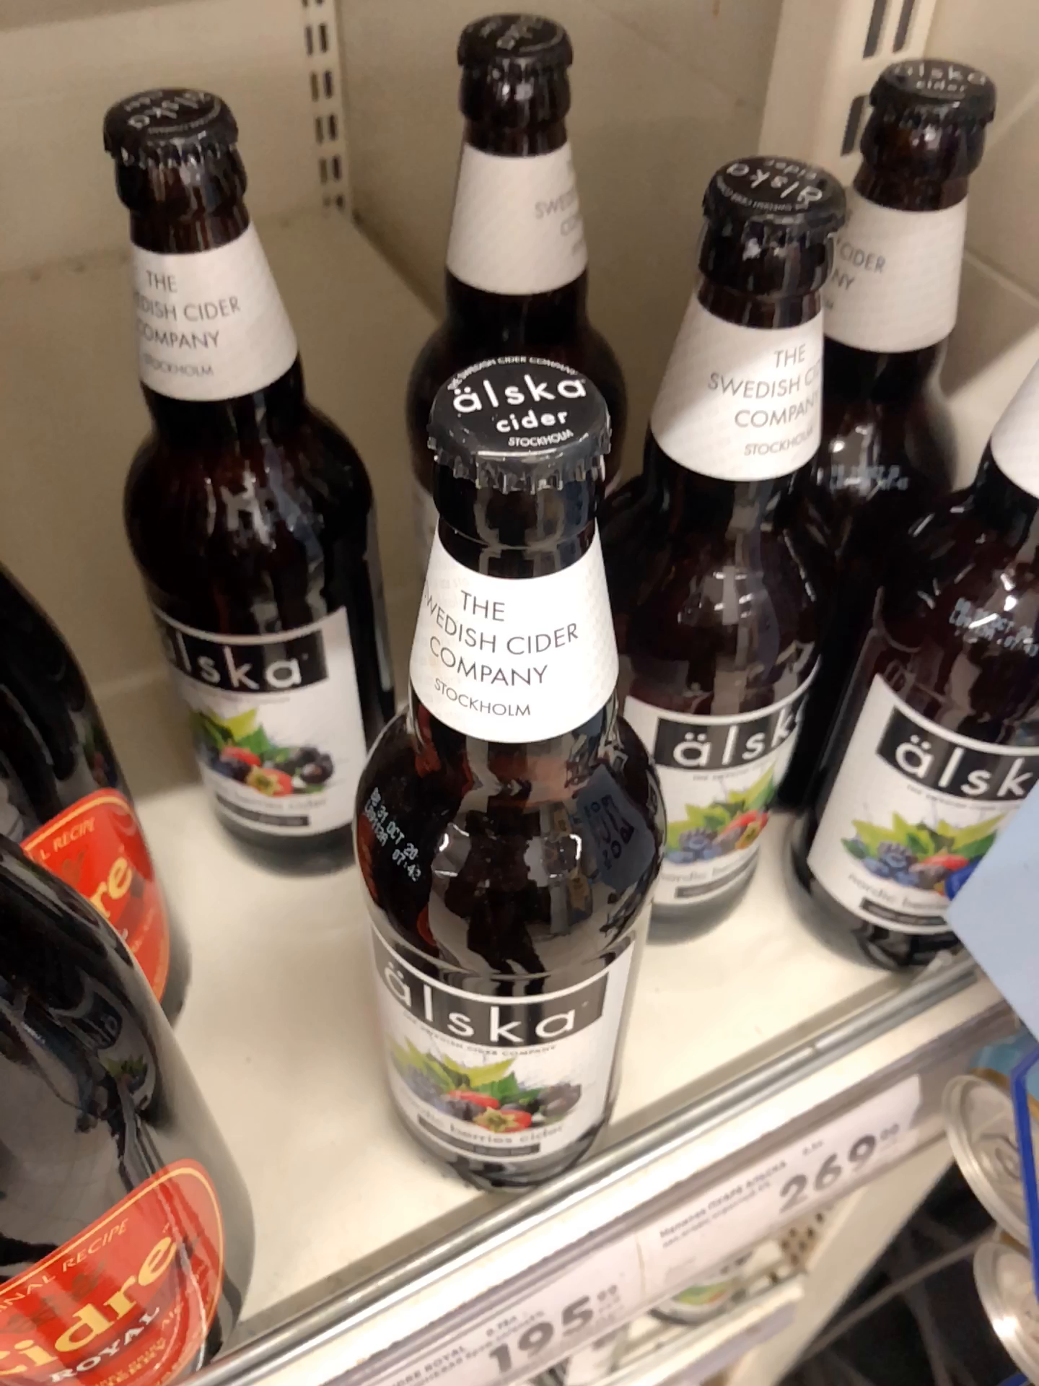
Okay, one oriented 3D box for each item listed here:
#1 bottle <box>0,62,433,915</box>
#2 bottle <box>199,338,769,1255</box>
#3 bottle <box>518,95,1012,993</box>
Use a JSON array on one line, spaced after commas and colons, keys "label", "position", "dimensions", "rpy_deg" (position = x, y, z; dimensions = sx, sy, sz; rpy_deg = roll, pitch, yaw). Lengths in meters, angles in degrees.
[{"label": "bottle", "position": [-0.074, -0.037, 0.331], "dimensions": [0.075, 0.235, 0.077], "rpy_deg": [0, 48, 0]}, {"label": "bottle", "position": [-0.002, 0.046, 0.251], "dimensions": [0.070, 0.229, 0.063], "rpy_deg": [9, 49, 7]}, {"label": "bottle", "position": [0.047, -0.018, 0.319], "dimensions": [0.070, 0.243, 0.063], "rpy_deg": [-28, 54, -23]}]
